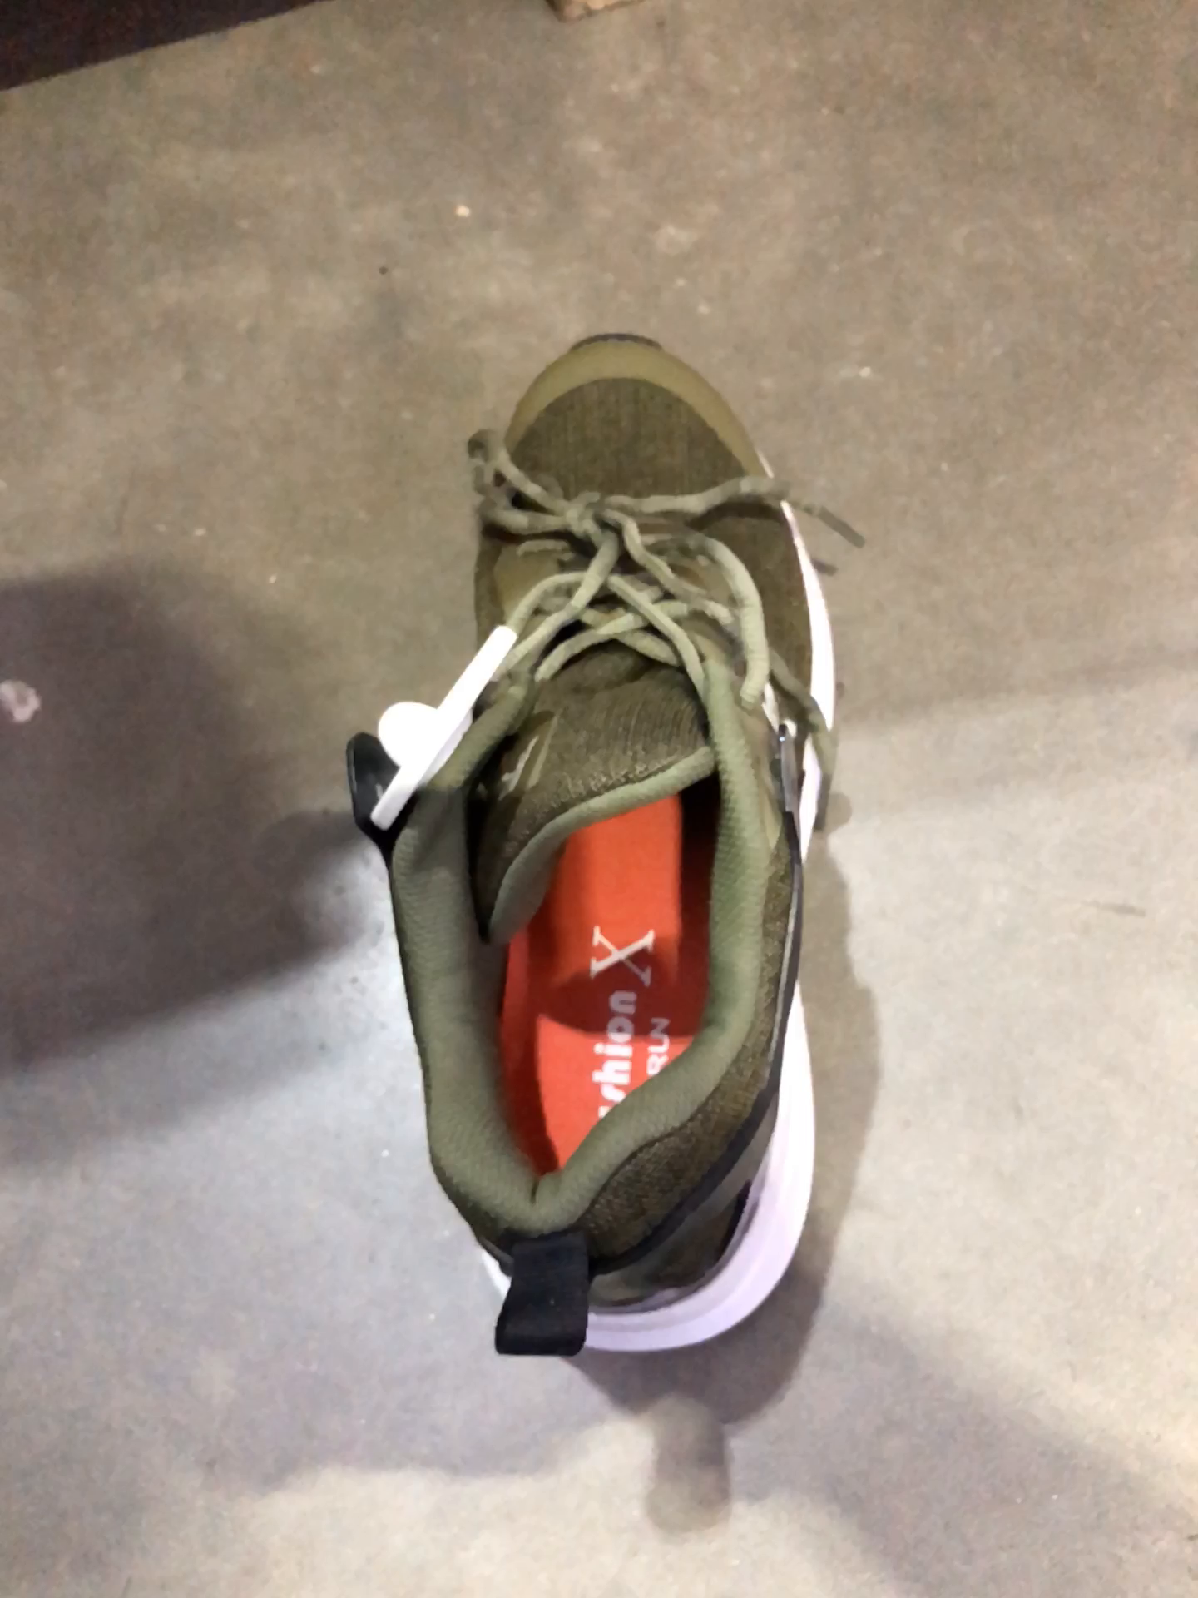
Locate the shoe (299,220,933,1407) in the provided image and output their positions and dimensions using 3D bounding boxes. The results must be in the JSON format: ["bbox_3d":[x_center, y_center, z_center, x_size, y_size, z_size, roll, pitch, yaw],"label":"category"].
[{"bbox_3d":[0.009,-0.001,0.355,0.120,0.100,0.291,-2,67,6],"label":"shoe"}]
